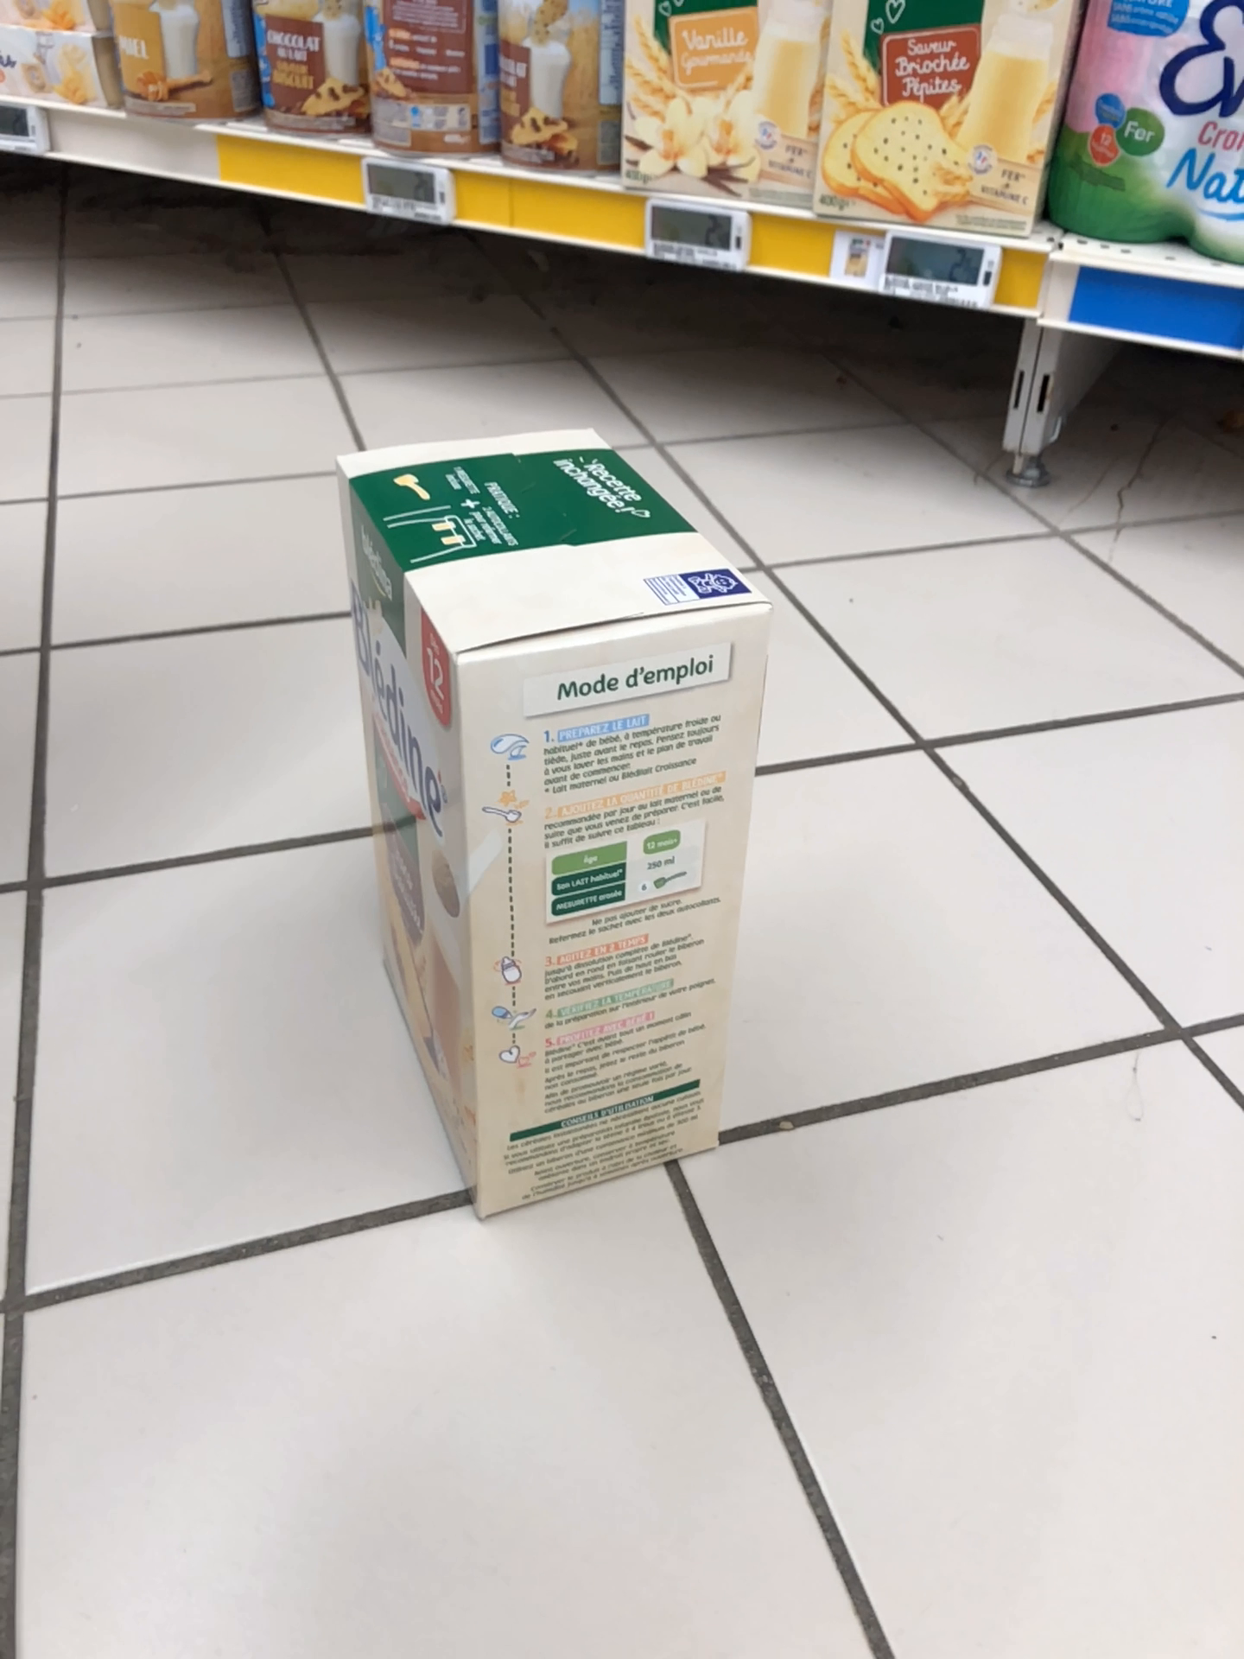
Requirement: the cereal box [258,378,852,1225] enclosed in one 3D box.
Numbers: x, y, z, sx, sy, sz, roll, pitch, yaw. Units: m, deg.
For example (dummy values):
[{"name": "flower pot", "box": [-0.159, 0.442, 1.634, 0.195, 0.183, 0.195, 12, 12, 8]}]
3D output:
[{"name": "cereal box", "box": [-0.030, -0.015, 0.432, 0.120, 0.199, 0.151, -11, 37, -19]}]
